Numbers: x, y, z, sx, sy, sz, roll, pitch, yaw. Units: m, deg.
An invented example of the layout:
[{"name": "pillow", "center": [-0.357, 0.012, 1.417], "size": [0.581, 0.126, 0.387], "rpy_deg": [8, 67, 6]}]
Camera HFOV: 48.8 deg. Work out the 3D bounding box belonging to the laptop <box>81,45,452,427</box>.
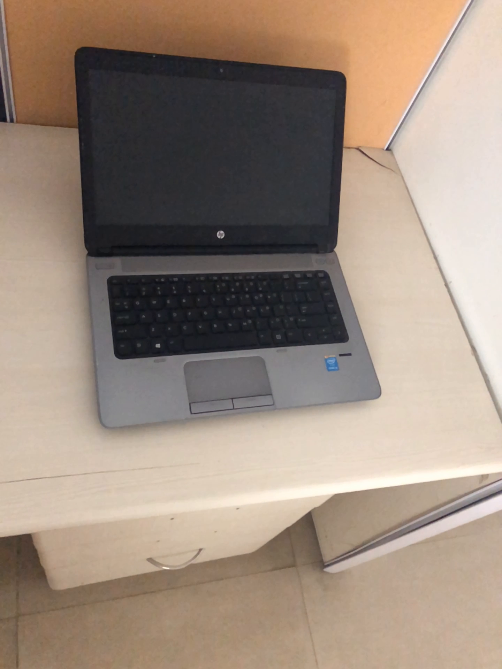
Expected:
[{"name": "laptop", "center": [-0.014, -0.120, 0.646], "size": [0.324, 0.167, 0.372], "rpy_deg": [-4, 63, -19]}]
